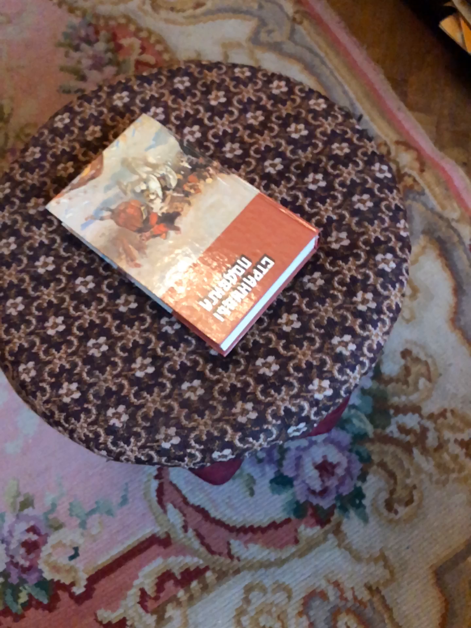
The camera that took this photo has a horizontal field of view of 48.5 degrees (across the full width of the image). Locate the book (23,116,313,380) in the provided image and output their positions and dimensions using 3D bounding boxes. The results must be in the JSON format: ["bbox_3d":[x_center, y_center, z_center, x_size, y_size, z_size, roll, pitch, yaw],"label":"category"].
[{"bbox_3d":[-0.058,-0.063,0.450,0.206,0.040,0.134,38,77,16],"label":"book"}]
